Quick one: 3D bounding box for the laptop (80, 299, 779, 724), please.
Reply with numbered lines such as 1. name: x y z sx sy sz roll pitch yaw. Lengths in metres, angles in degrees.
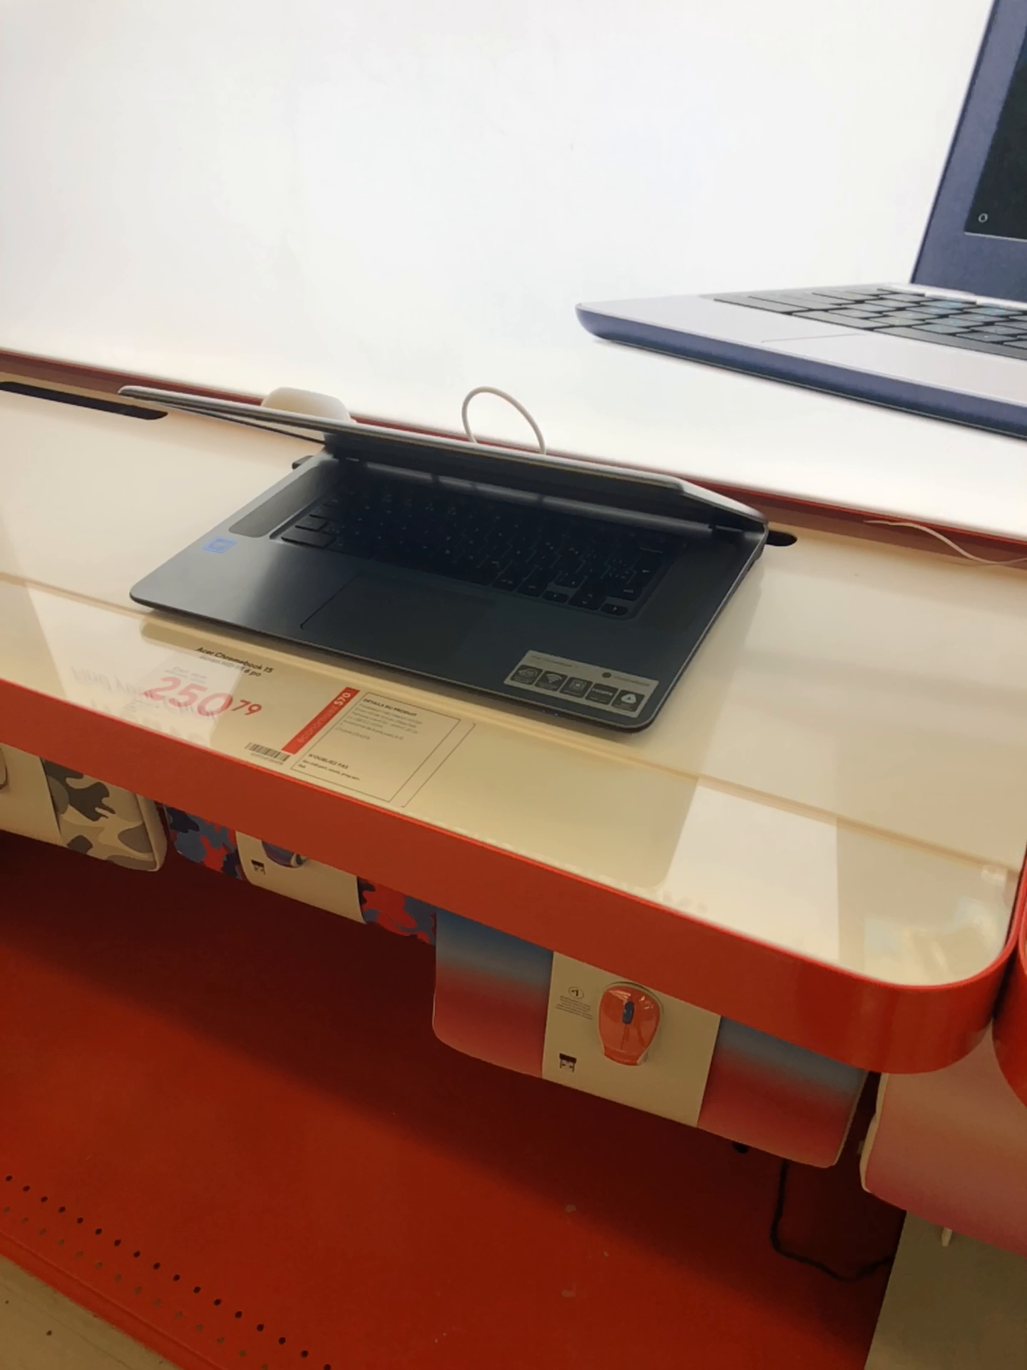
1. laptop: -0.044 -0.135 0.730 0.363 0.122 0.238 14 39 22
